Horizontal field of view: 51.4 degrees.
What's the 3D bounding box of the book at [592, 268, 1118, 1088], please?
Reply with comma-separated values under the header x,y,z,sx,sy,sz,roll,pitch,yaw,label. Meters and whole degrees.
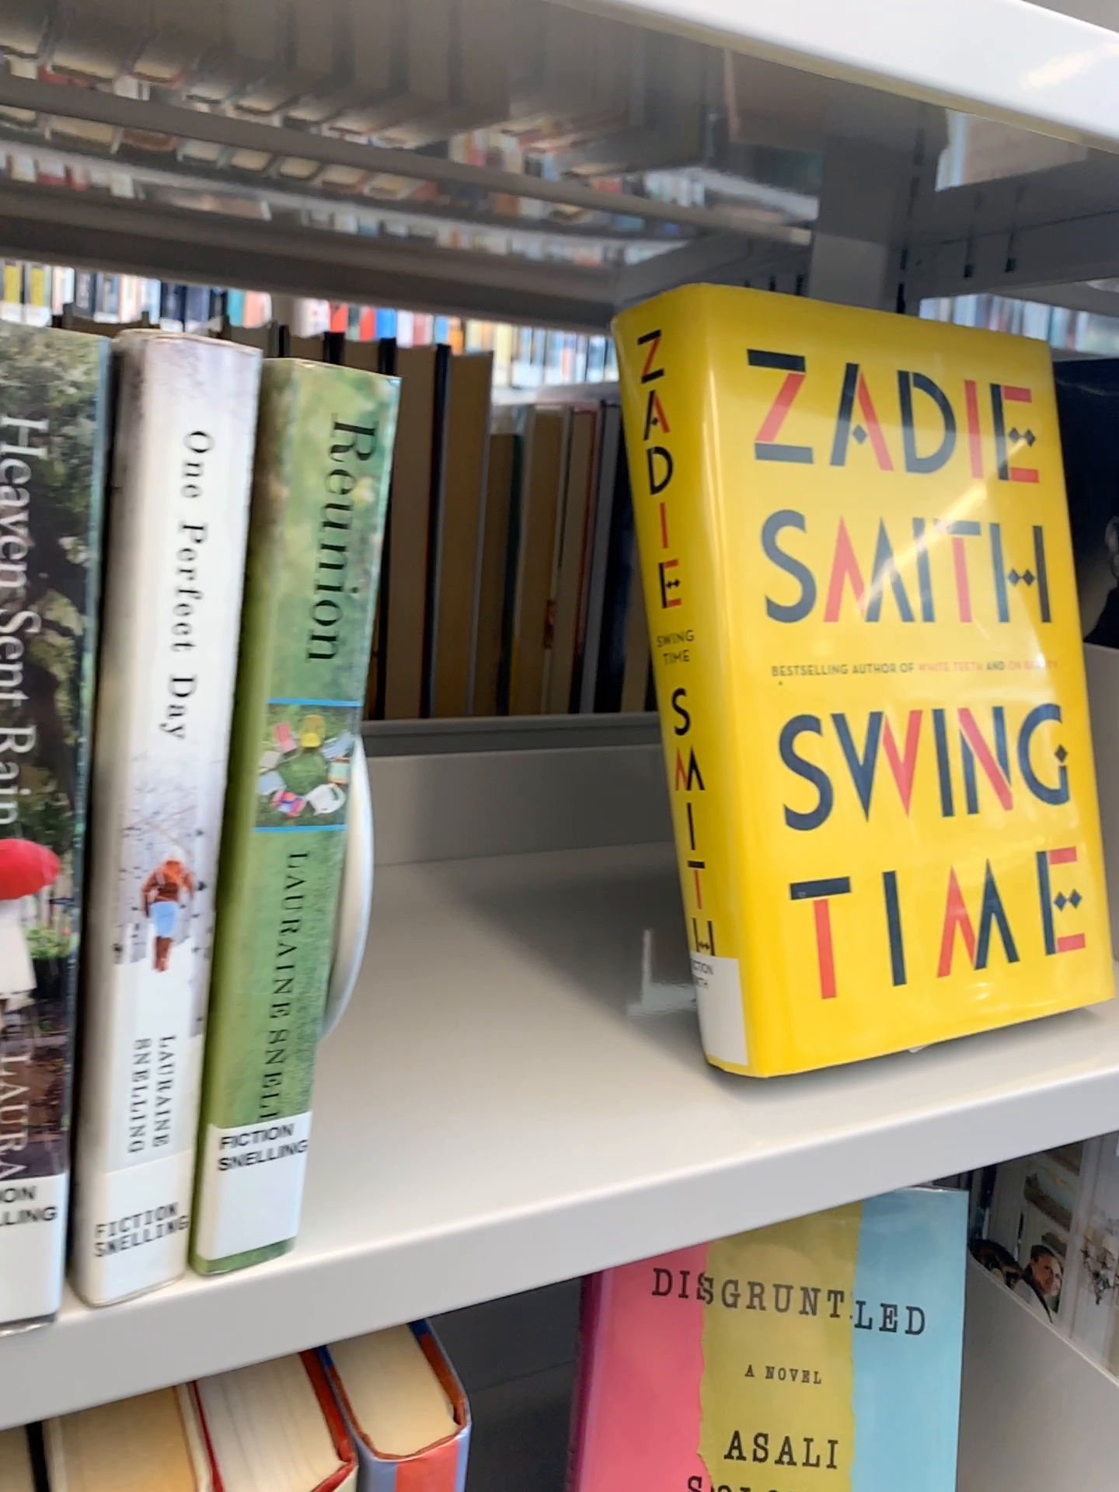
x,y,z,sx,sy,sz,roll,pitch,yaw,label
0.107,-0.023,0.394,0.168,0.233,0.060,-3,-4,-29,book
